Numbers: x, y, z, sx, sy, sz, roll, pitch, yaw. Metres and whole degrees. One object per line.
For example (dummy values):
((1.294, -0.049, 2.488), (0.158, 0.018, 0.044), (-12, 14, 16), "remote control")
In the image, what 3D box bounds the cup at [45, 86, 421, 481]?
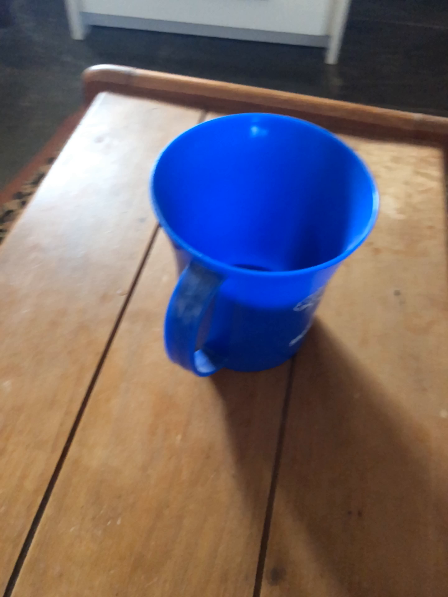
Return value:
((0.009, -0.009, 0.230), (0.100, 0.099, 0.121), (25, 56, 14), "cup")
